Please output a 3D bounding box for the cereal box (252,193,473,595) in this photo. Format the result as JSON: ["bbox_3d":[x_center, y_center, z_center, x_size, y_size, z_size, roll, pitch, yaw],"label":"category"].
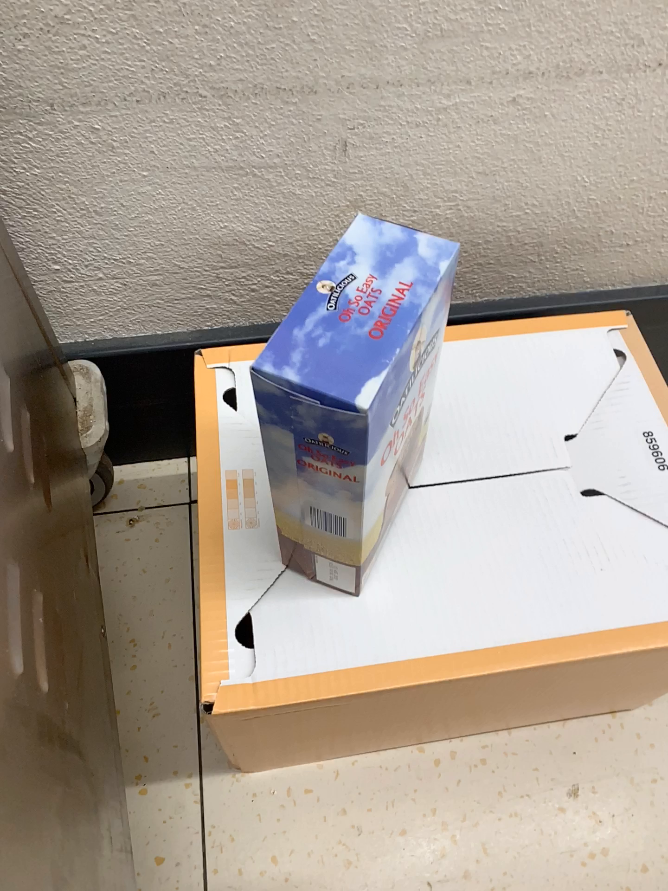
[{"bbox_3d":[0.019,-0.017,0.423,0.060,0.218,0.131,21,59,14],"label":"cereal box"}]
